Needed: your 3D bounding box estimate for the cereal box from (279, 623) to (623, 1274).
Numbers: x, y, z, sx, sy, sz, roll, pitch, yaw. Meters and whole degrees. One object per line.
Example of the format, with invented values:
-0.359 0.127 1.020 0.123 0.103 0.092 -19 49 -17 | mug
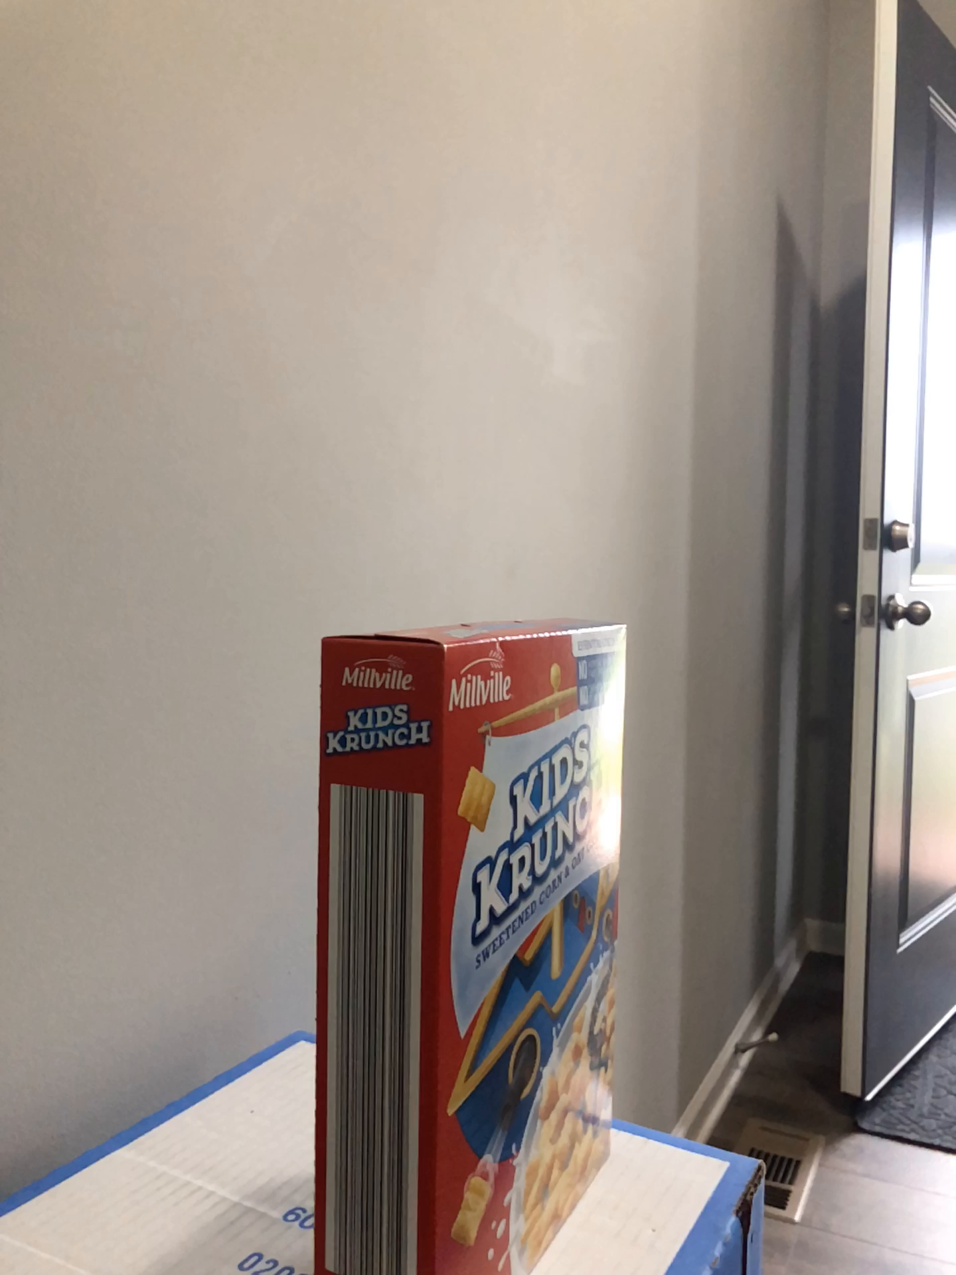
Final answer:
0.000 0.132 0.471 0.060 0.270 0.210 2 3 26 | cereal box
